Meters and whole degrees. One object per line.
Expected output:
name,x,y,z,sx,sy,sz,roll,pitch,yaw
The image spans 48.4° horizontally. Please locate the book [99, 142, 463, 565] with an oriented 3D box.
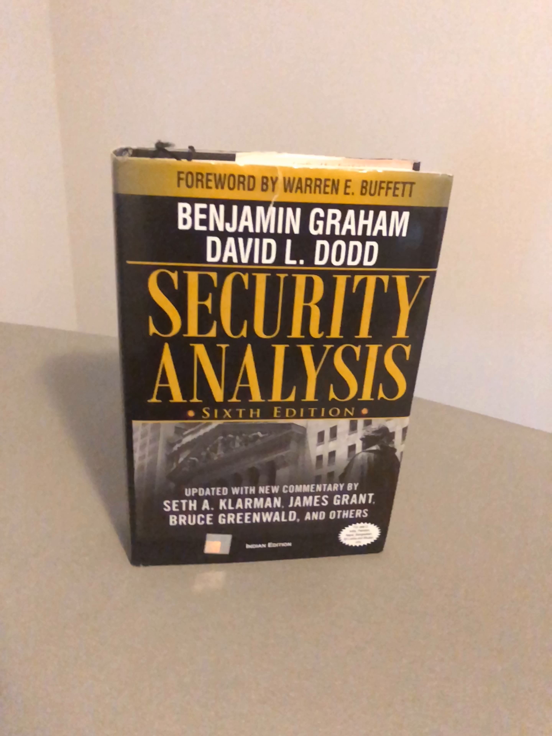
book,-0.004,0.002,0.345,0.164,0.230,0.047,0,26,-8
